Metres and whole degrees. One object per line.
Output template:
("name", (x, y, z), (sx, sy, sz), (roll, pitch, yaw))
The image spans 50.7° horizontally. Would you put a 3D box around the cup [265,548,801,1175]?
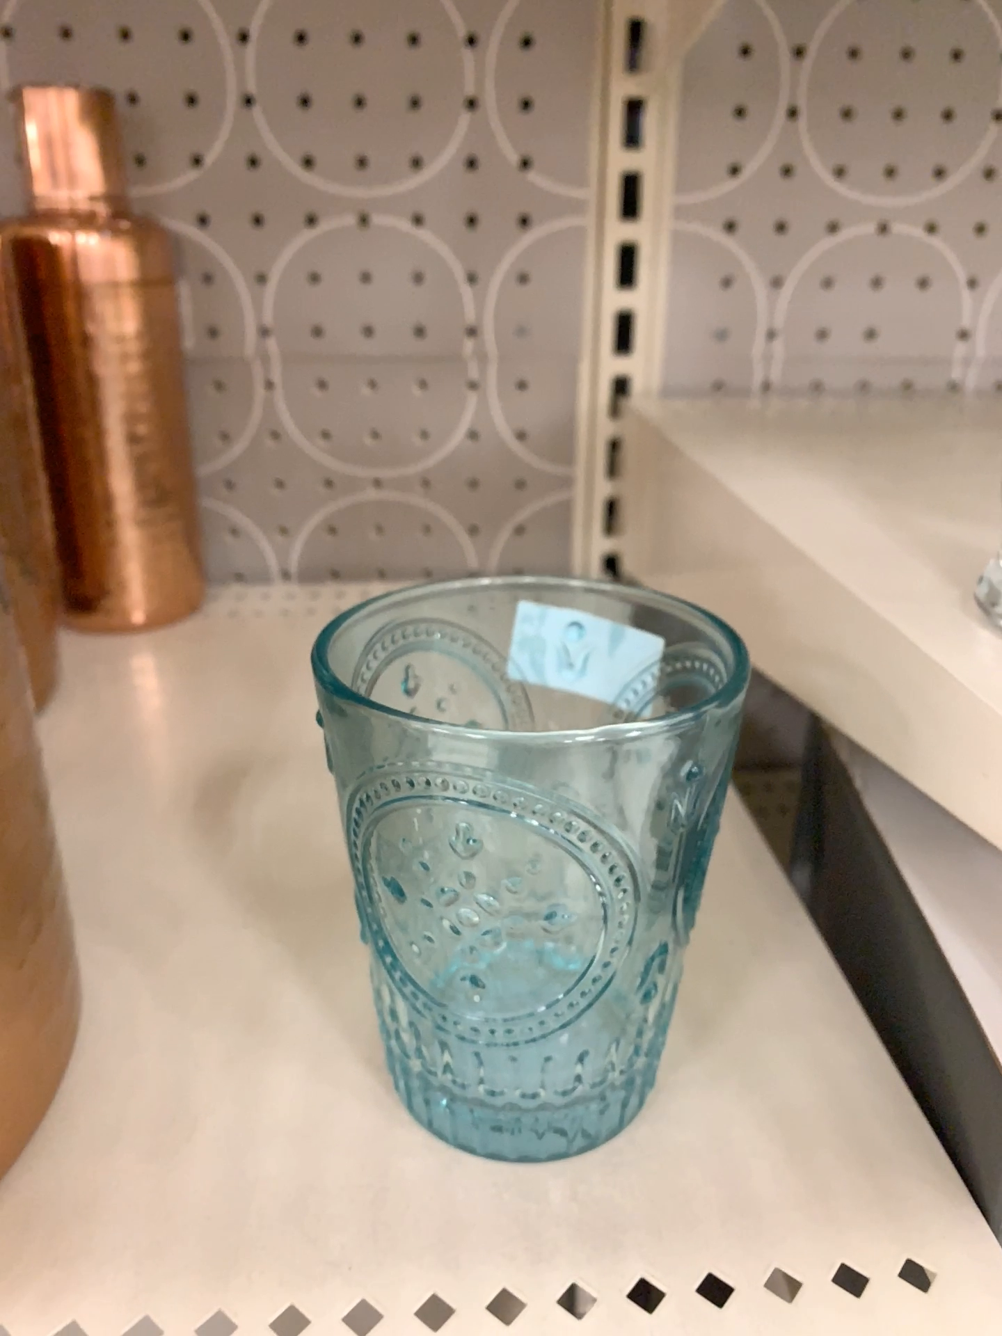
("cup", (0.003, 0.033, 0.207), (0.078, 0.091, 0.076), (0, 24, 0))
